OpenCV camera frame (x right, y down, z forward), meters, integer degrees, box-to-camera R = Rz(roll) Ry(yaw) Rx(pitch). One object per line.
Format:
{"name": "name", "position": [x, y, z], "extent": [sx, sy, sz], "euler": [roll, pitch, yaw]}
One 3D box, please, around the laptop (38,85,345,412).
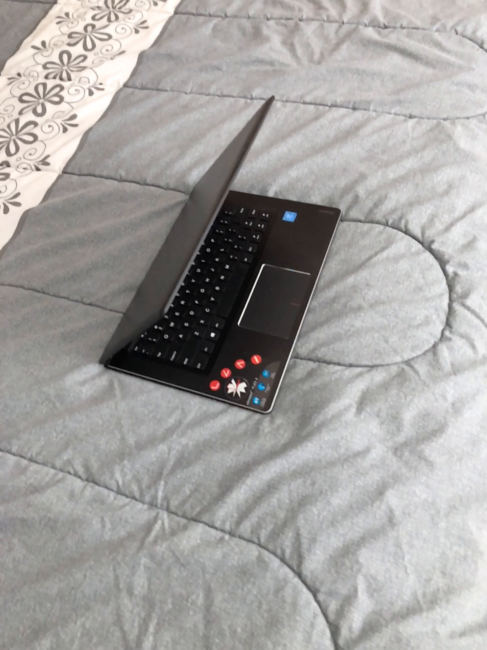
{"name": "laptop", "position": [-0.032, -0.097, 0.613], "extent": [0.214, 0.168, 0.305], "euler": [14, 61, 17]}
